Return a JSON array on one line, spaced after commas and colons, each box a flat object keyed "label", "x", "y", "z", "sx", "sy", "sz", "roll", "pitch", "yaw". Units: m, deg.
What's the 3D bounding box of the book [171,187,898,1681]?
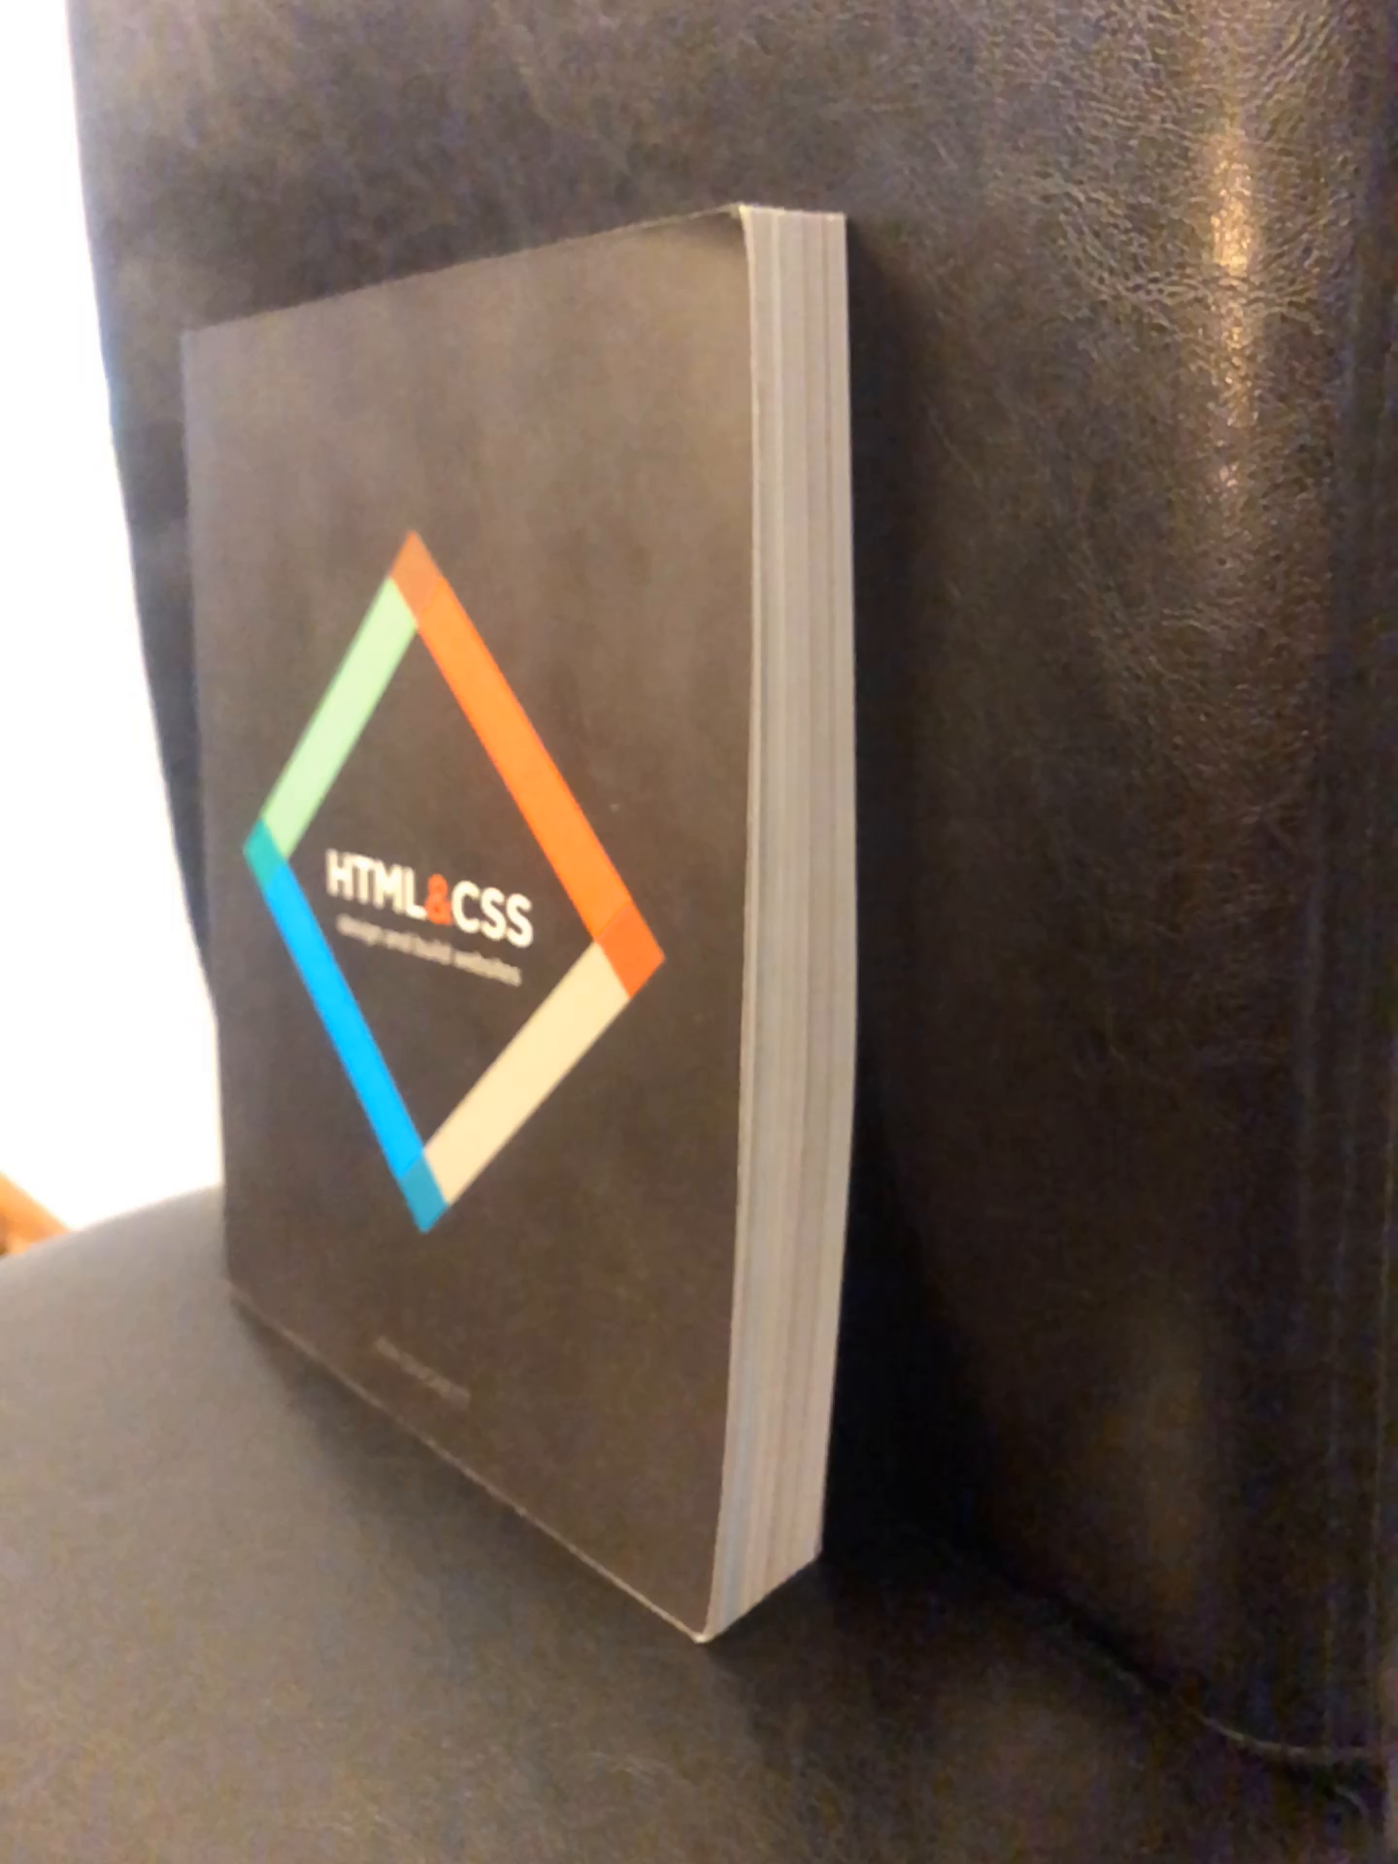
[{"label": "book", "x": -0.046, "y": -0.007, "z": 0.316, "sx": 0.030, "sy": 0.231, "sz": 0.189, "roll": -9, "pitch": 15, "yaw": -41}]
